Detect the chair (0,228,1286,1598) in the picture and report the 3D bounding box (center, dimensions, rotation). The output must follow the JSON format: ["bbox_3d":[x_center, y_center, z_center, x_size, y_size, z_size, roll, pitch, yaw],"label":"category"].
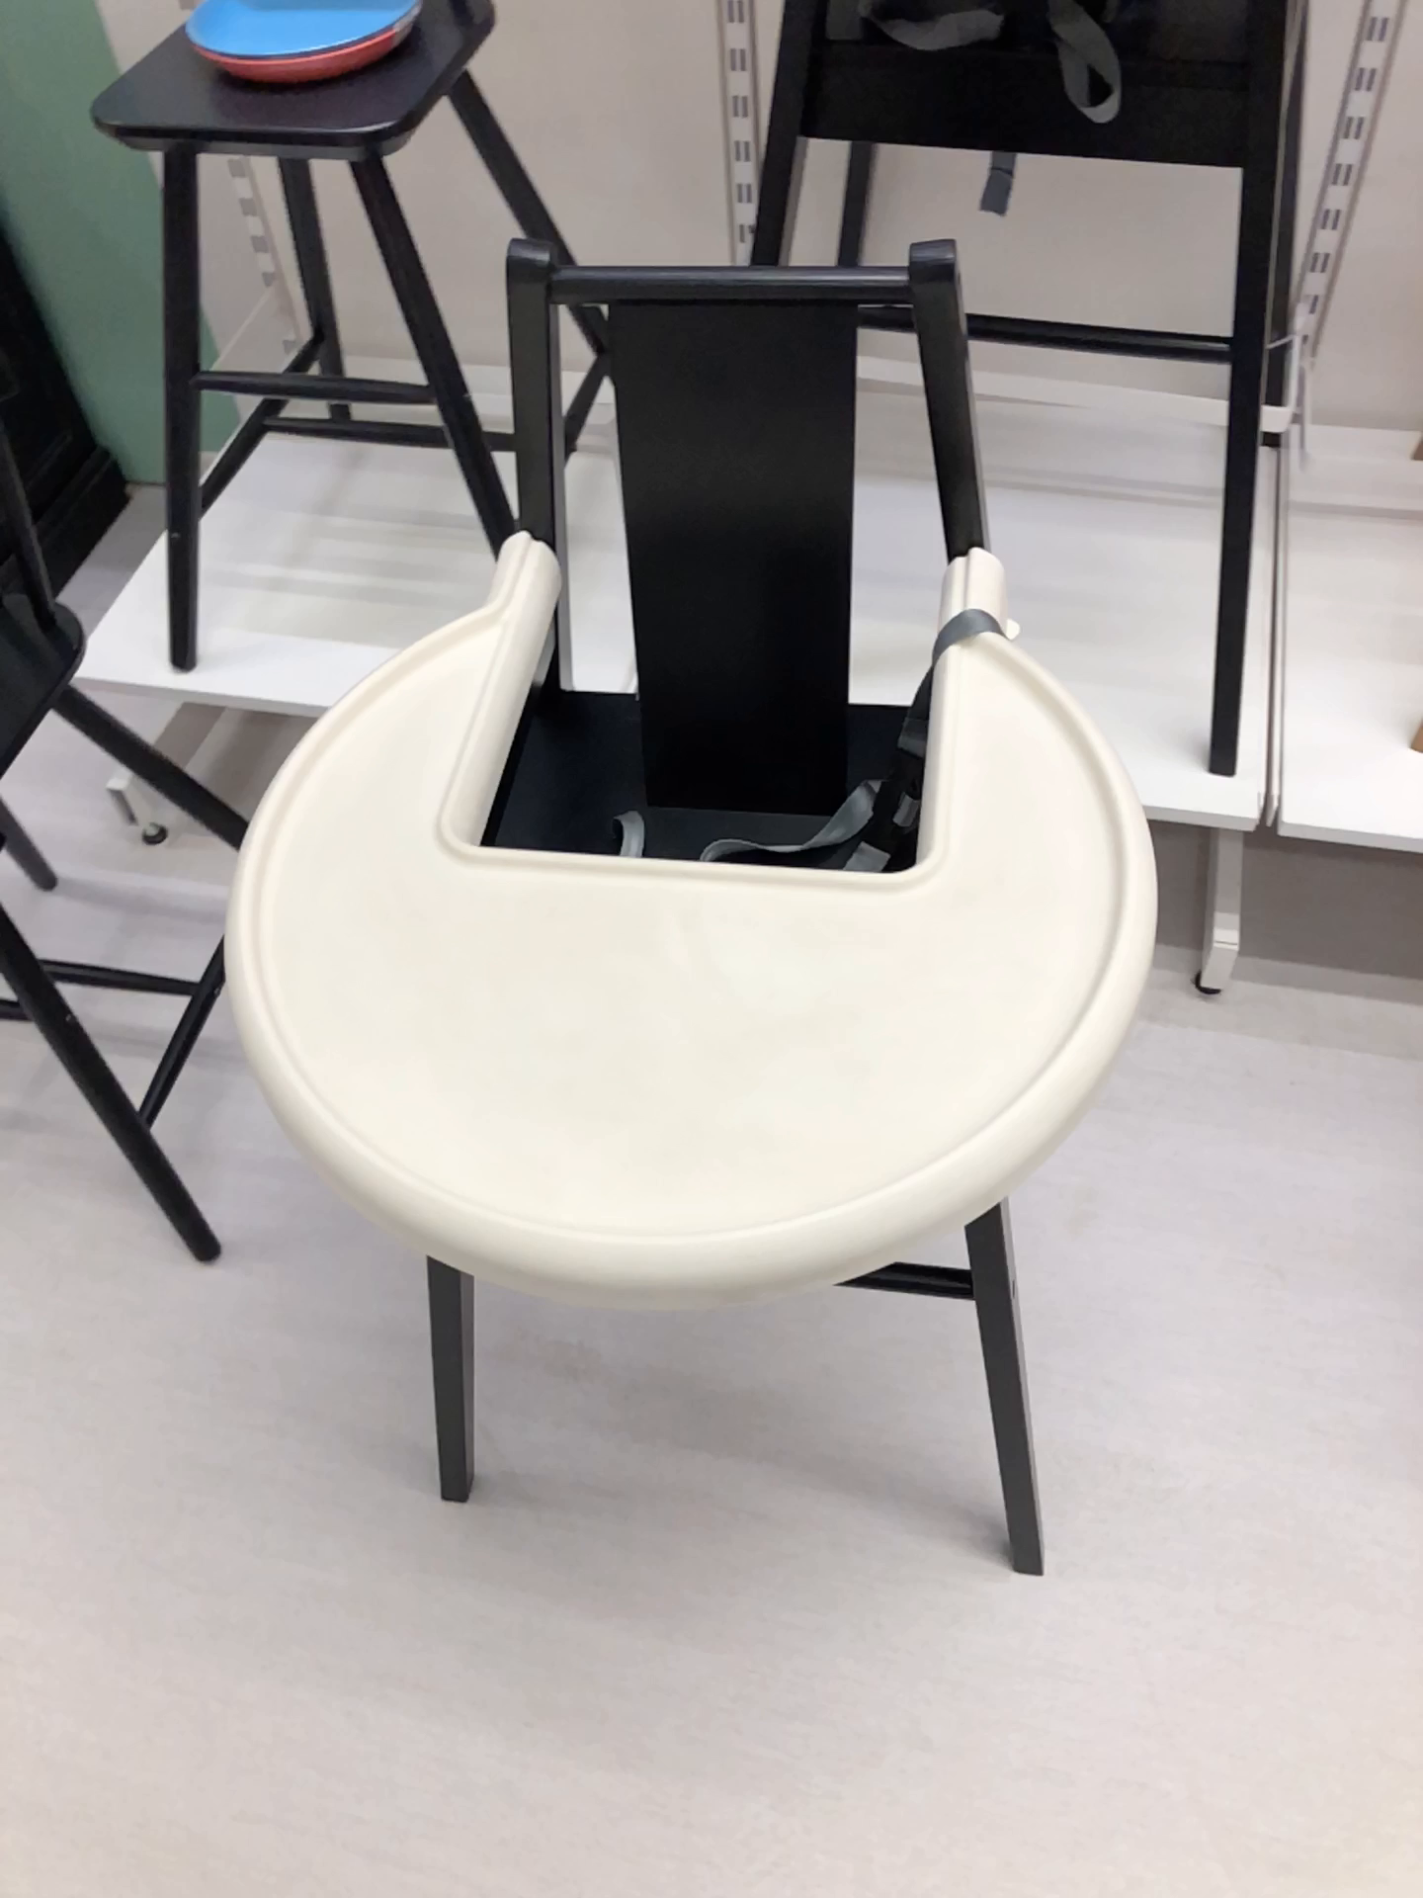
[{"bbox_3d":[0.018,0.016,1.099,0.550,0.776,0.553,5,53,9],"label":"chair"}]
